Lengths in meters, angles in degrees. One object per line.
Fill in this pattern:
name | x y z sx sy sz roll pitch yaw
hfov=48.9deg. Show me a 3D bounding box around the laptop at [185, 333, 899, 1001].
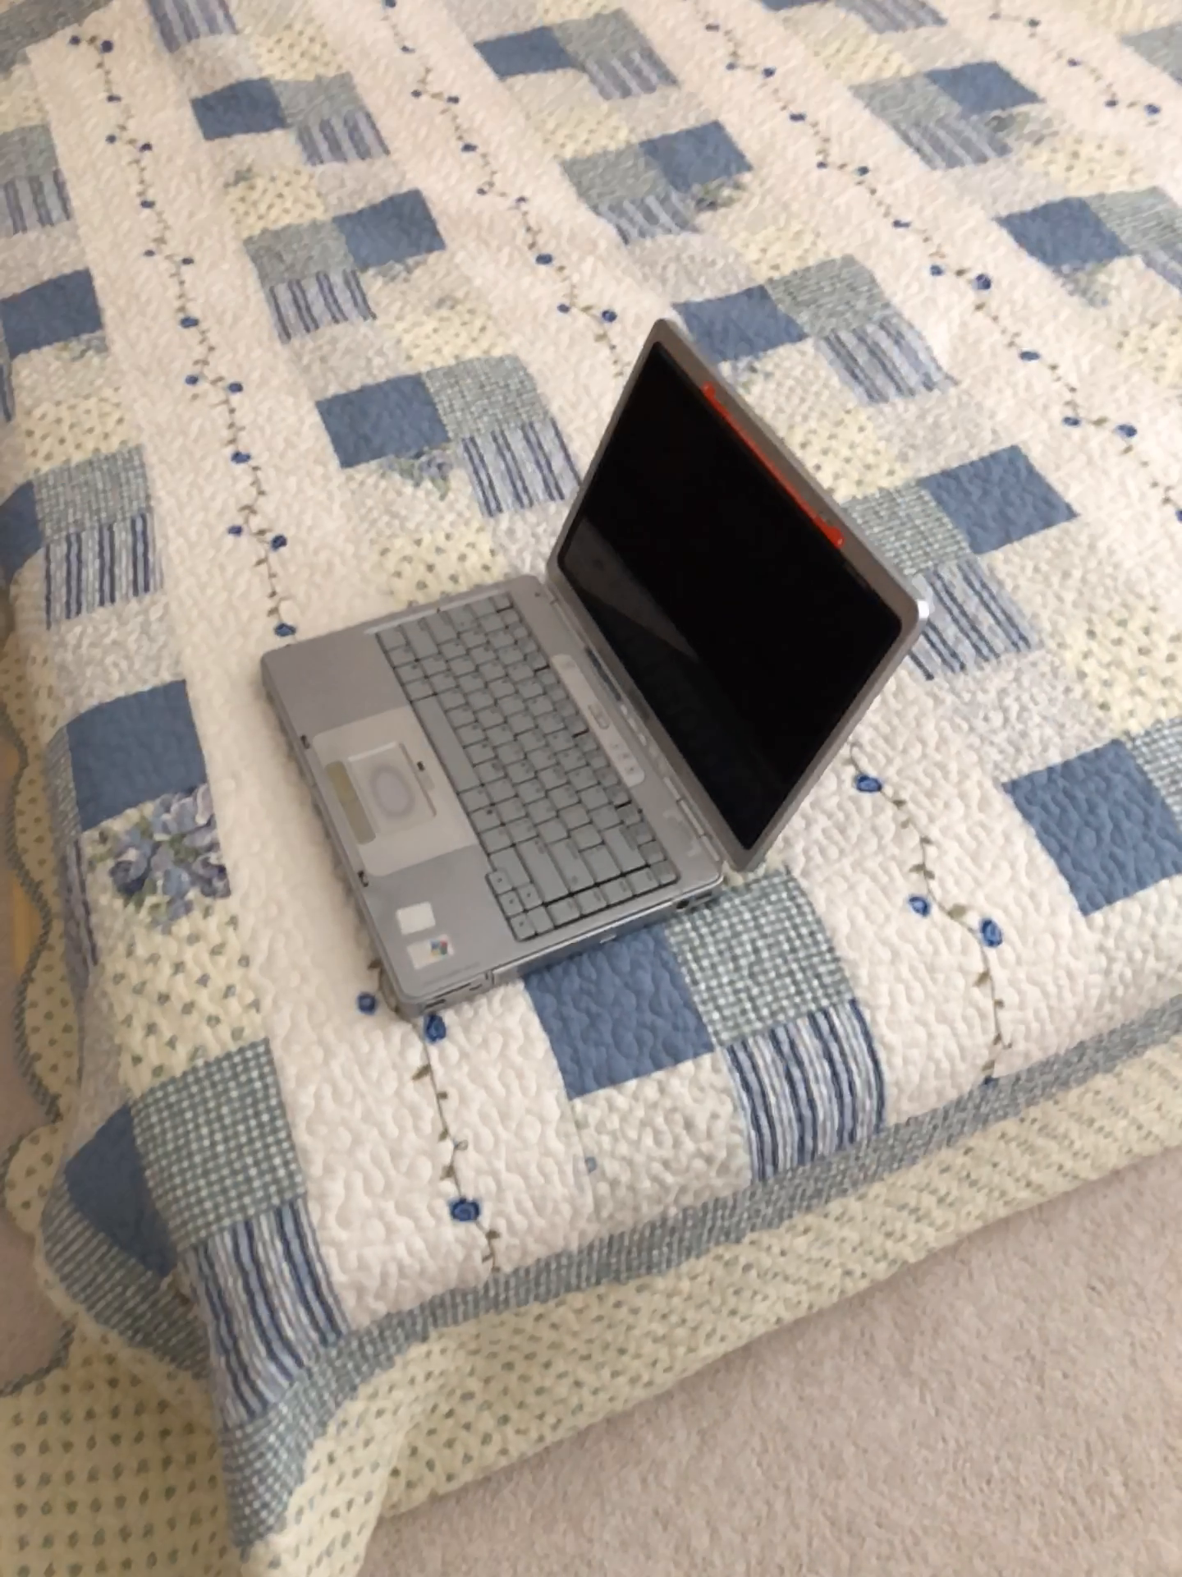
laptop | -0.039 -0.096 0.854 0.326 0.193 0.323 -20 54 -16
